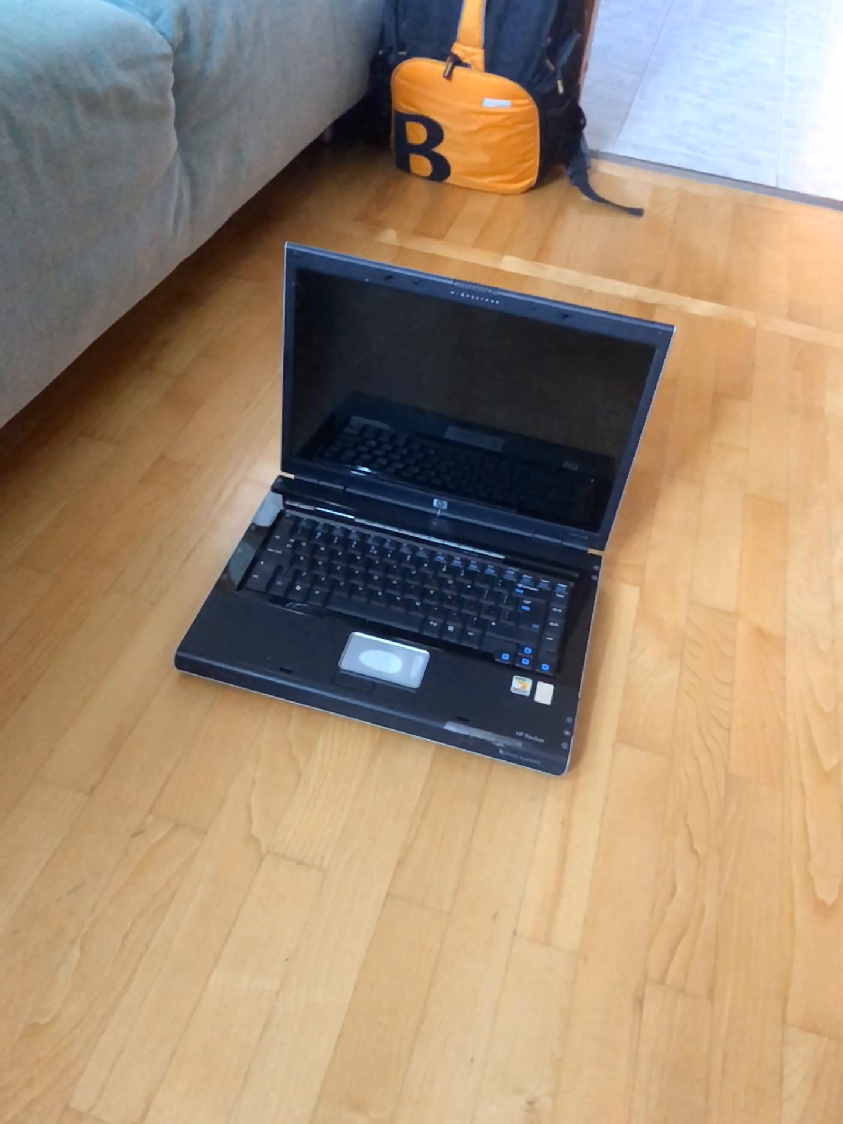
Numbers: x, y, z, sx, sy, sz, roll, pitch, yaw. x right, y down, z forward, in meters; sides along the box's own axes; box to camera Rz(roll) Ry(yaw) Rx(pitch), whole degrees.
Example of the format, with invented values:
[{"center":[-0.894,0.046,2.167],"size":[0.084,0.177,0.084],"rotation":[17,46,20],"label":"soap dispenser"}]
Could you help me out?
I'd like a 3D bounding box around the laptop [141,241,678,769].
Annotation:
[{"center":[0.002,-0.061,0.832],"size":[0.363,0.254,0.308],"rotation":[14,46,6],"label":"laptop"}]
